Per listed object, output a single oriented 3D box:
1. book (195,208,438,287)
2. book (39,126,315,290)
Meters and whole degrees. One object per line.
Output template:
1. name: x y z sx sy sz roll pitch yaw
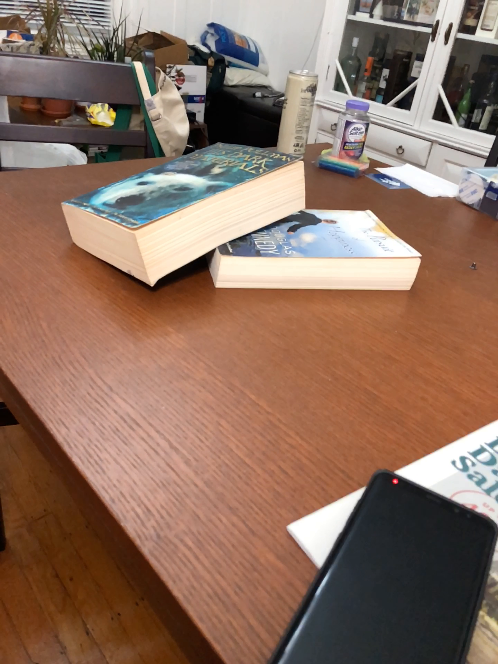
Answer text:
1. book: 0.063 -0.101 0.630 0.240 0.040 0.171 -1 26 -9
2. book: -0.071 -0.150 0.596 0.241 0.060 0.170 -33 44 -32
